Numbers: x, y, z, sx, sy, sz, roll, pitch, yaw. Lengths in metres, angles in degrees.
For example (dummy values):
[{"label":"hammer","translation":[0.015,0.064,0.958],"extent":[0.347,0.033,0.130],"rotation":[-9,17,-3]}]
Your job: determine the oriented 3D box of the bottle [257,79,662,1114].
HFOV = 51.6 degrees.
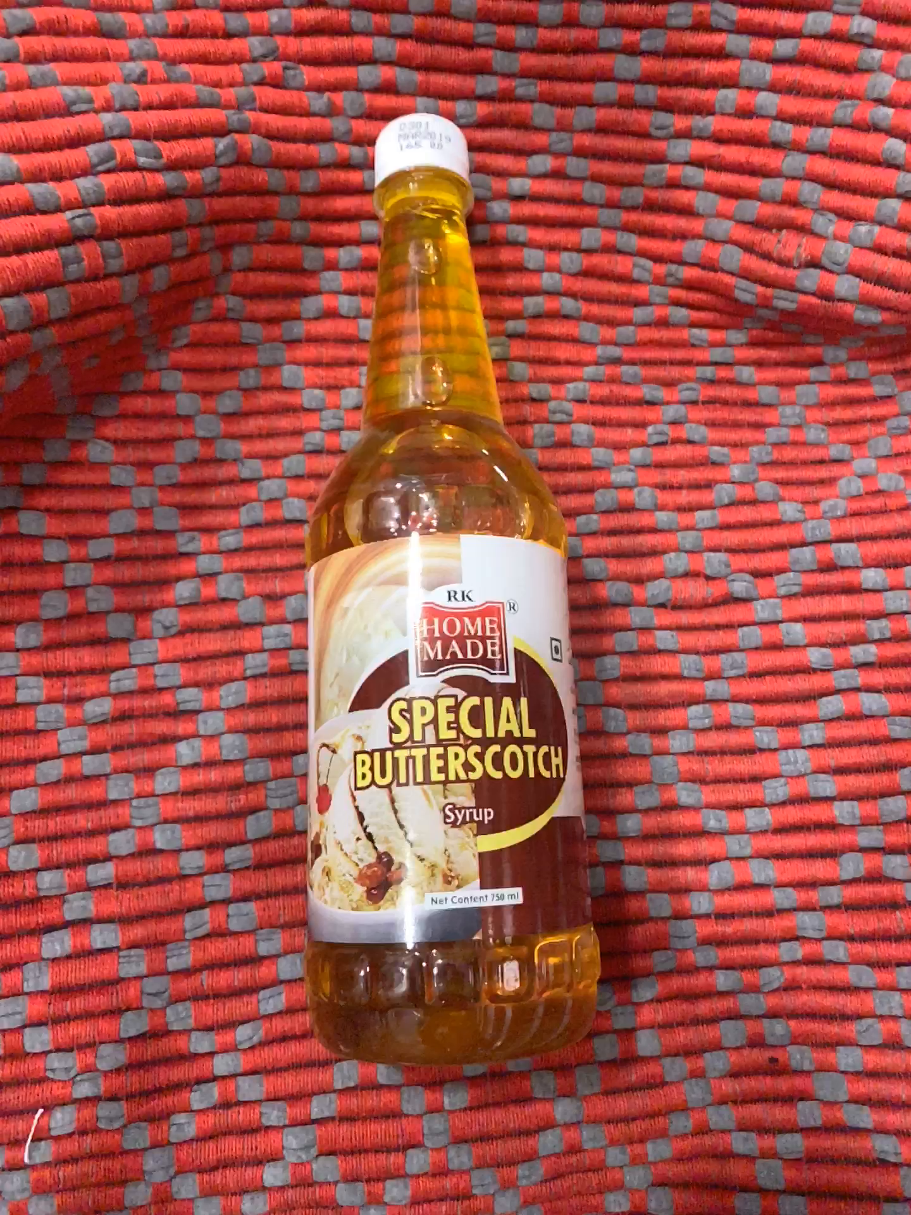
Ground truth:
[{"label":"bottle","translation":[-0.006,-0.017,0.255],"extent":[0.080,0.060,0.260],"rotation":[-2,72,-3]}]
